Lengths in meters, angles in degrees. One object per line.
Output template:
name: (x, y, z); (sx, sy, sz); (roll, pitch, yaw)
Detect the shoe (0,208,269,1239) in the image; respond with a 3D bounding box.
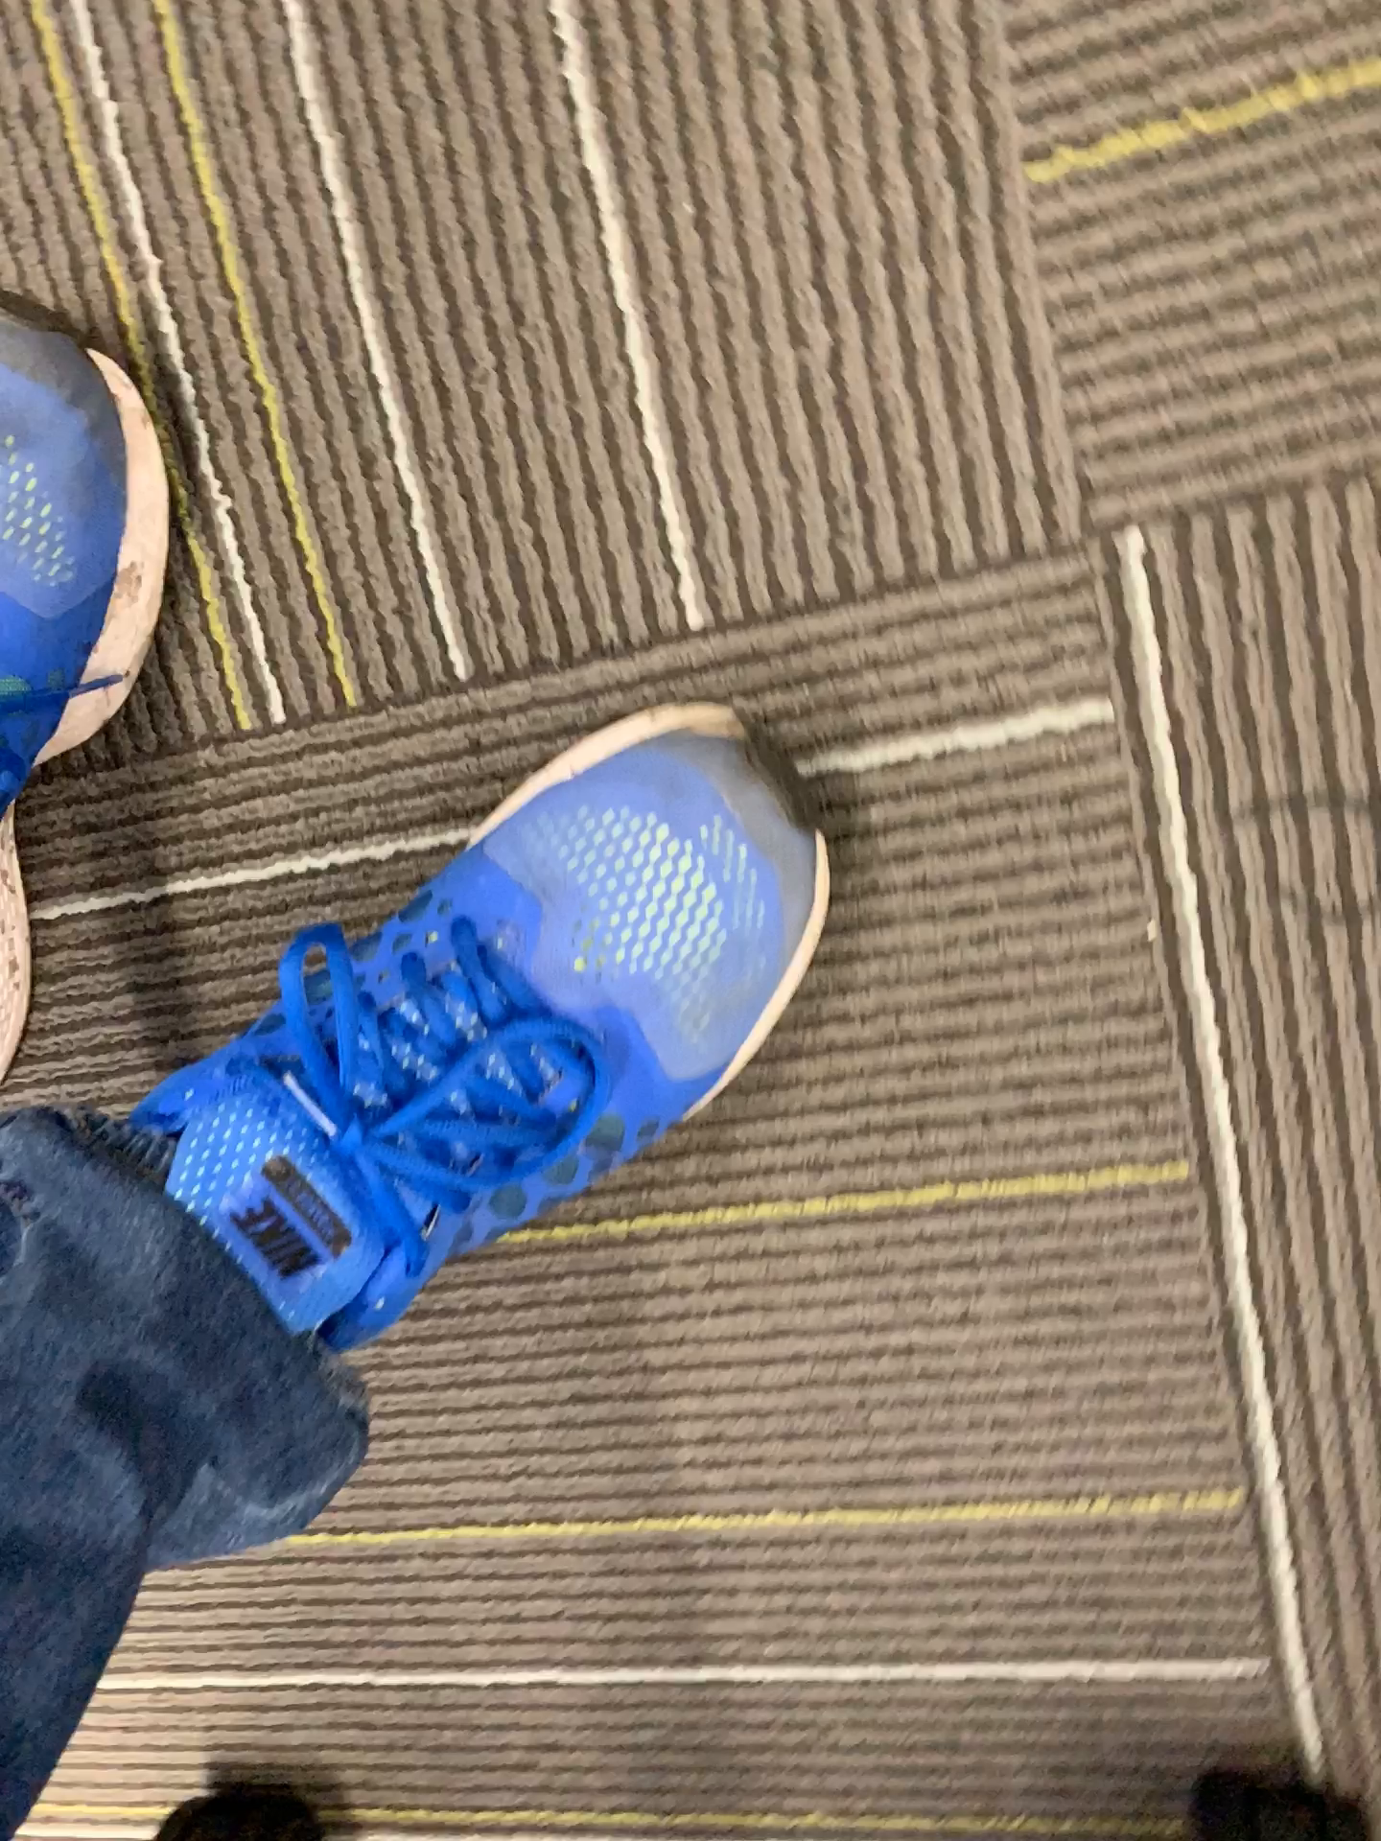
shoe: (-0.265, -0.055, 0.480); (0.125, 0.077, 0.299); (29, 110, 5)

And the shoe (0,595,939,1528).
shoe: (-0.079, 0.051, 0.457); (0.128, 0.077, 0.300); (47, 111, -1)
